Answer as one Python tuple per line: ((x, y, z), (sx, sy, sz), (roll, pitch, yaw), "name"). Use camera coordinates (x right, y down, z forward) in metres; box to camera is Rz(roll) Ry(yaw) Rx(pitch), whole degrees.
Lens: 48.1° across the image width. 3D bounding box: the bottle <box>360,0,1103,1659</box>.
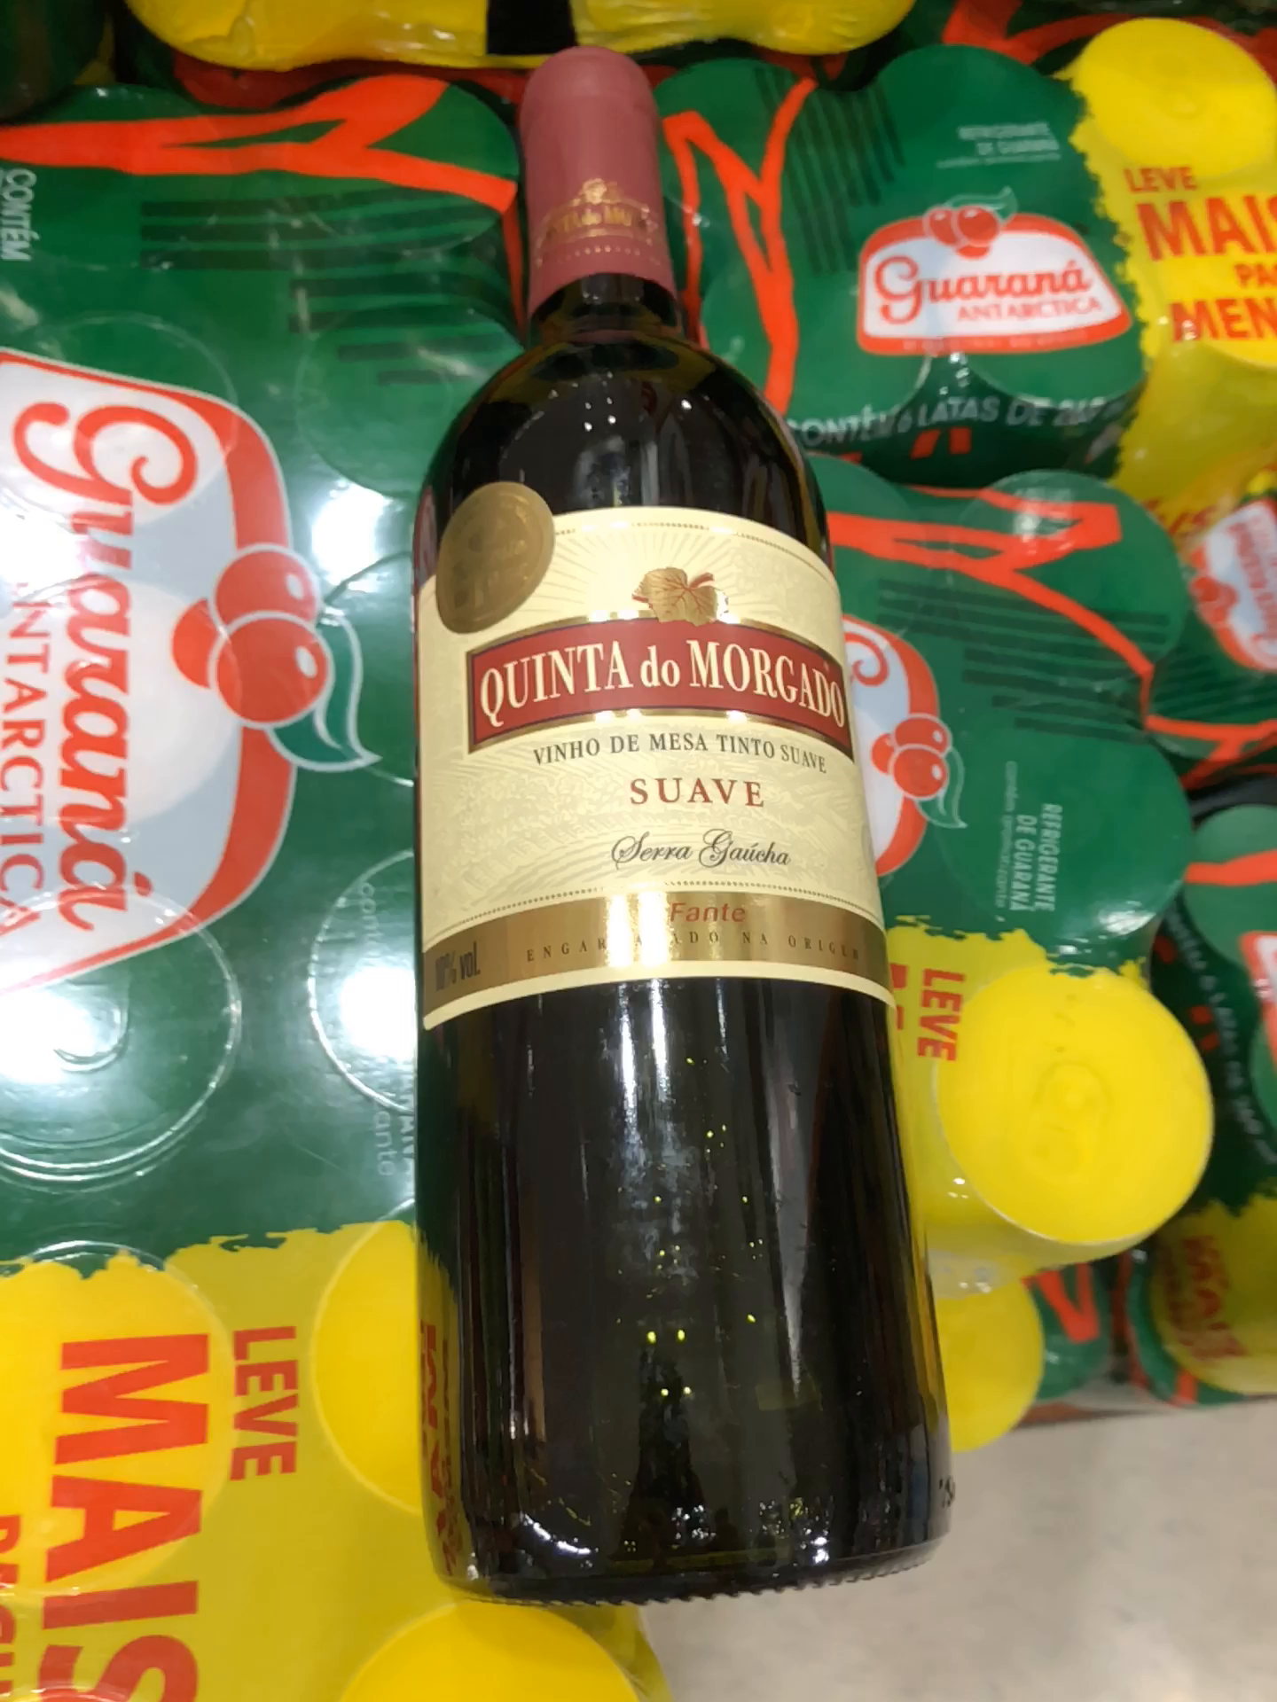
((0.001, -0.027, 0.244), (0.080, 0.070, 0.270), (4, 70, -23), "bottle")
